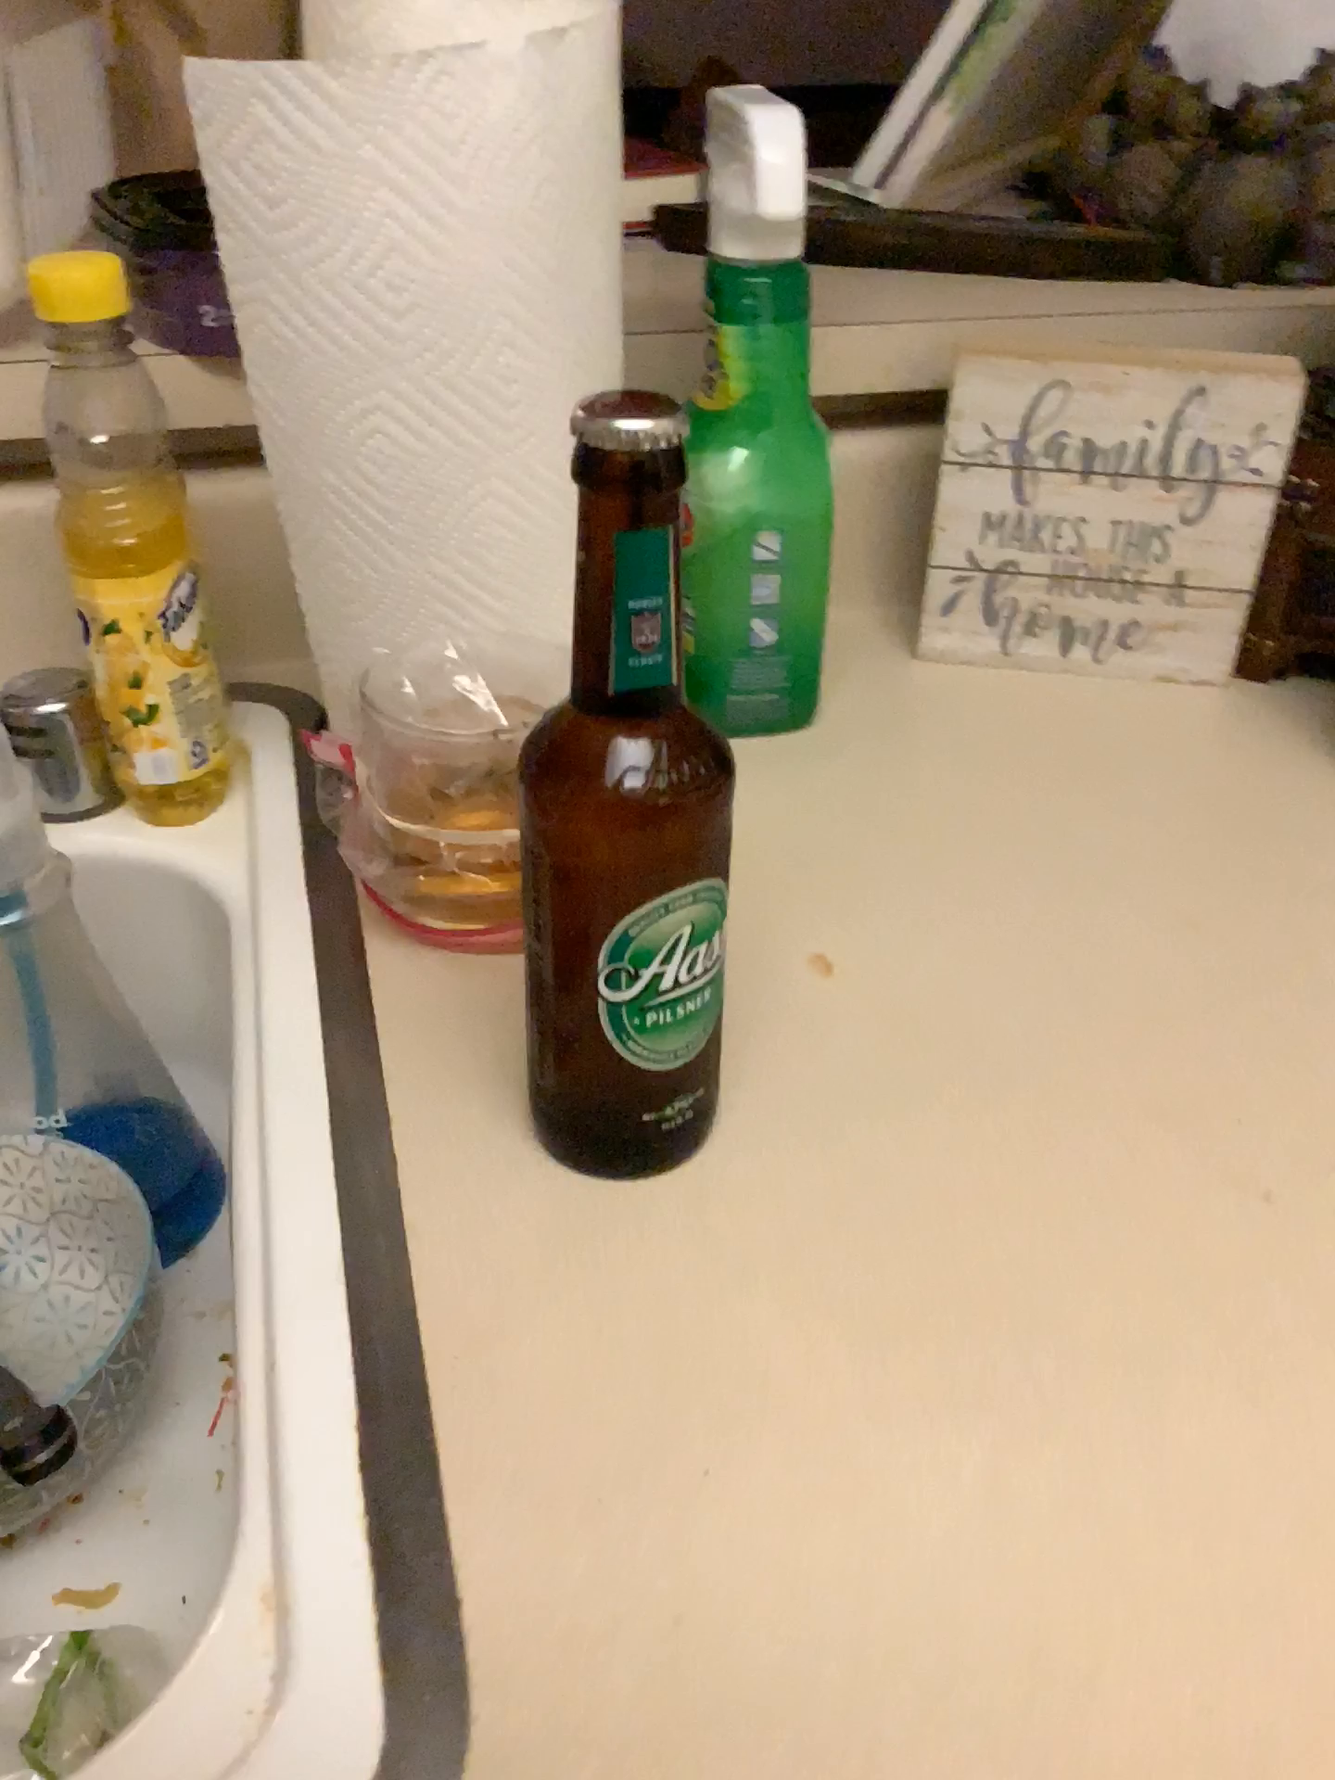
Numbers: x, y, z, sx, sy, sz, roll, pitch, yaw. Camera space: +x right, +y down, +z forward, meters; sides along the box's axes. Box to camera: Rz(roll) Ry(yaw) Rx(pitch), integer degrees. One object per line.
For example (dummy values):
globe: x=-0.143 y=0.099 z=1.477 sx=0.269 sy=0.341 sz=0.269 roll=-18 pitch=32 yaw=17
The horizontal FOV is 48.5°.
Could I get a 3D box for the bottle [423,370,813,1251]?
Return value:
bottle: x=-0.014 y=-0.014 z=0.410 sx=0.070 sy=0.230 sz=0.060 roll=-20 pitch=39 yaw=-29
